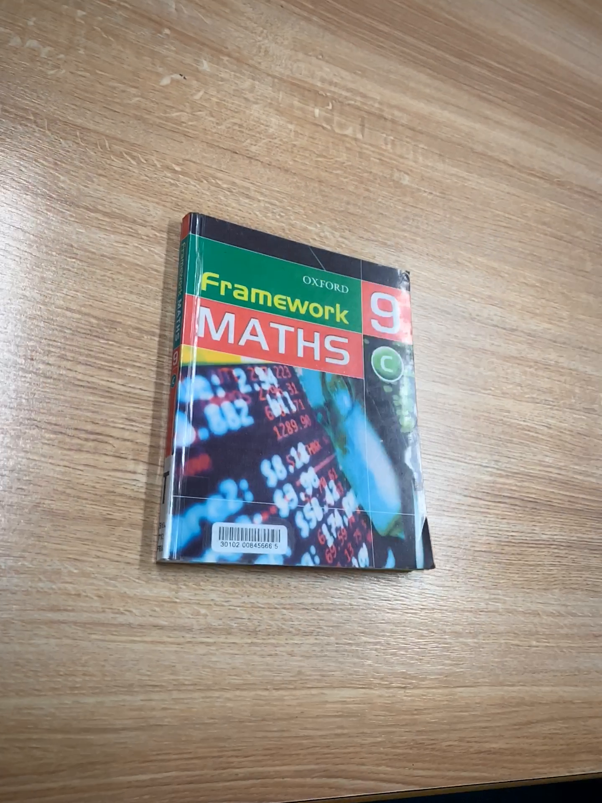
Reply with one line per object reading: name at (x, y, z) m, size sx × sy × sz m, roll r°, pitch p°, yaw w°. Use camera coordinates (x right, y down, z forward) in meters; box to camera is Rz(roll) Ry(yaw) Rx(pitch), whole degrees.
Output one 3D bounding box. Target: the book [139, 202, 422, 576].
book at (-0.006, -0.005, 0.434) m, size 0.191 × 0.020 × 0.244 m, roll 9°, pitch 70°, yaw -25°
